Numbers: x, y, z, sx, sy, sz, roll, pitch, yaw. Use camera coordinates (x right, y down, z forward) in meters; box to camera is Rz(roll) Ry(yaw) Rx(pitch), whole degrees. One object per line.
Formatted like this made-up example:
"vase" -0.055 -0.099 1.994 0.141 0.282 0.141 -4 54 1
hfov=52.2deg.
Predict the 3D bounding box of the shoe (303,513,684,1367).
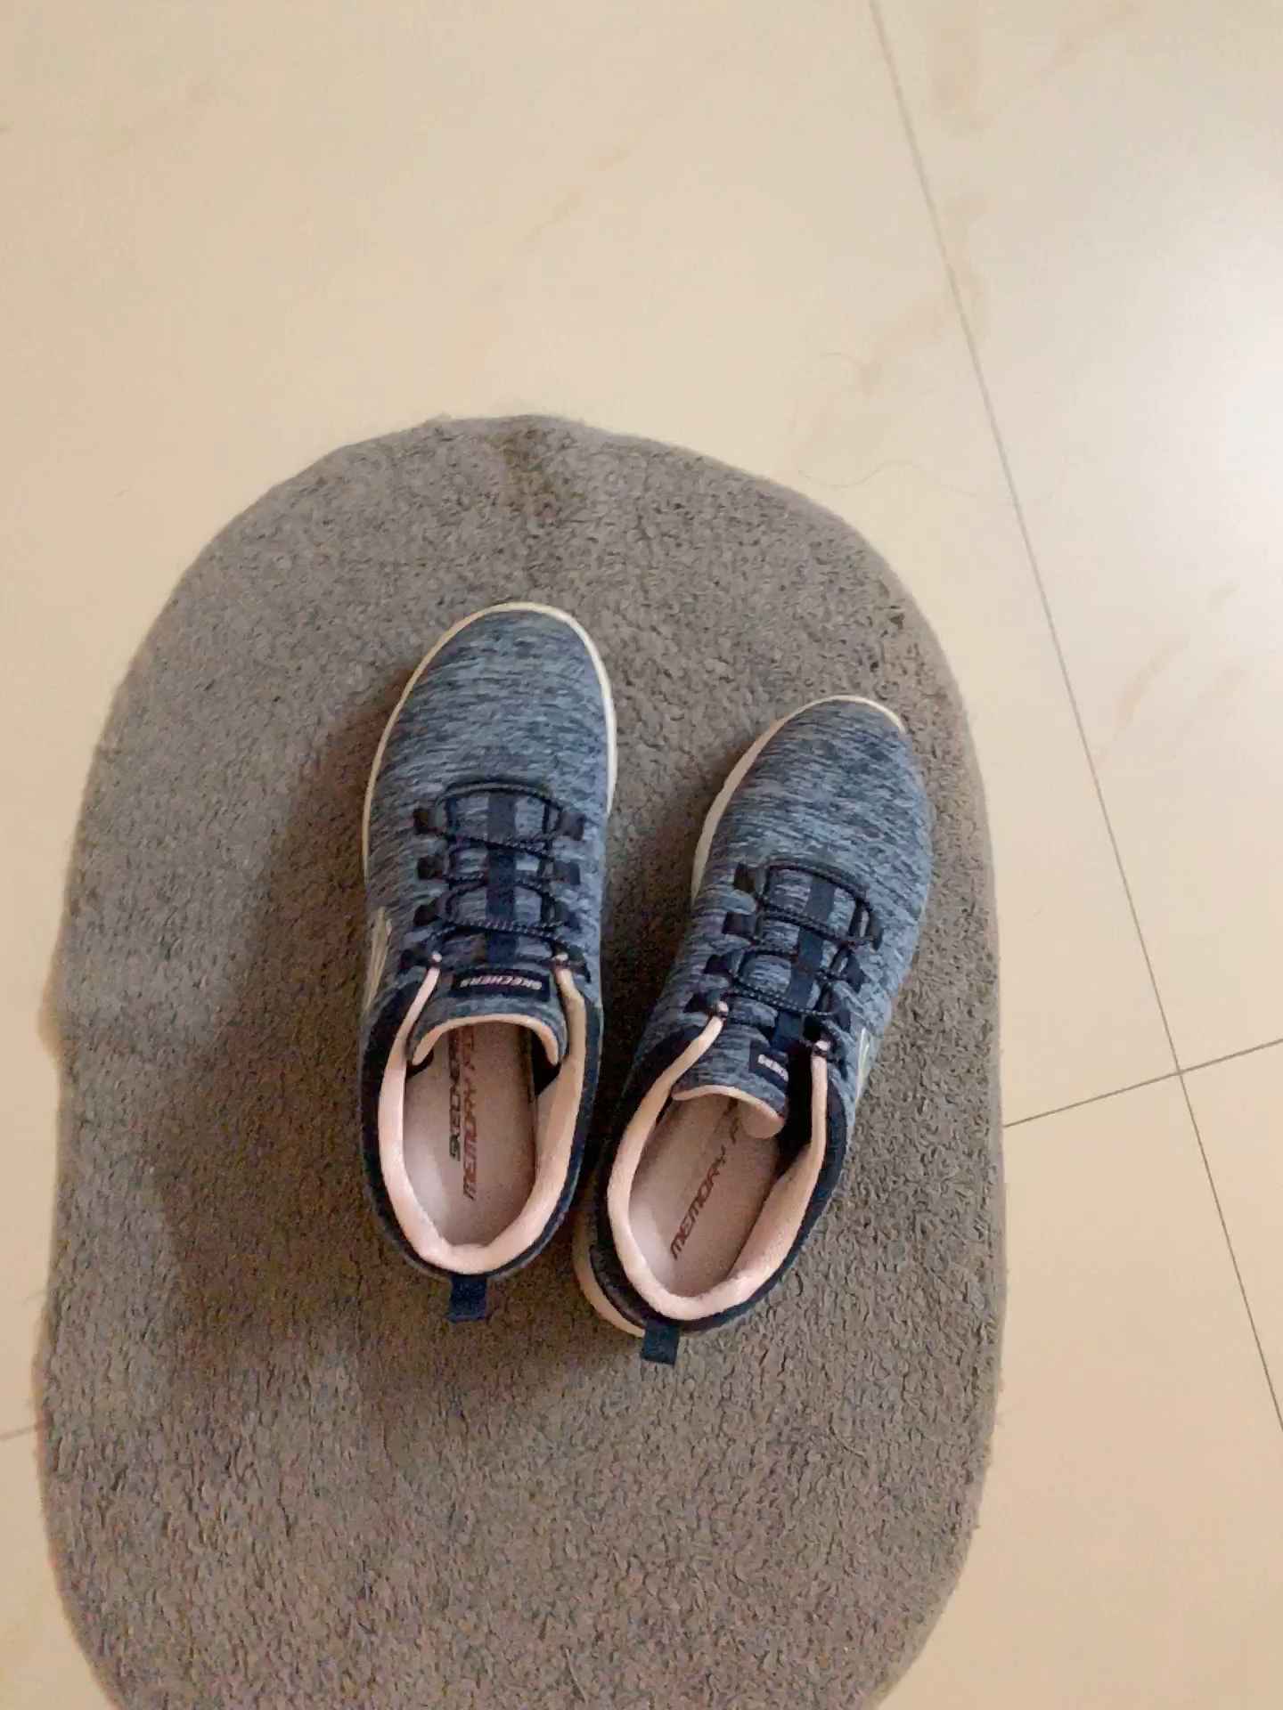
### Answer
"shoe" -0.058 0.031 0.508 0.100 0.100 0.290 7 86 -9

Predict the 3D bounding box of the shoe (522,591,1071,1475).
"shoe" 0.049 0.057 0.473 0.090 0.100 0.270 22 85 -4
